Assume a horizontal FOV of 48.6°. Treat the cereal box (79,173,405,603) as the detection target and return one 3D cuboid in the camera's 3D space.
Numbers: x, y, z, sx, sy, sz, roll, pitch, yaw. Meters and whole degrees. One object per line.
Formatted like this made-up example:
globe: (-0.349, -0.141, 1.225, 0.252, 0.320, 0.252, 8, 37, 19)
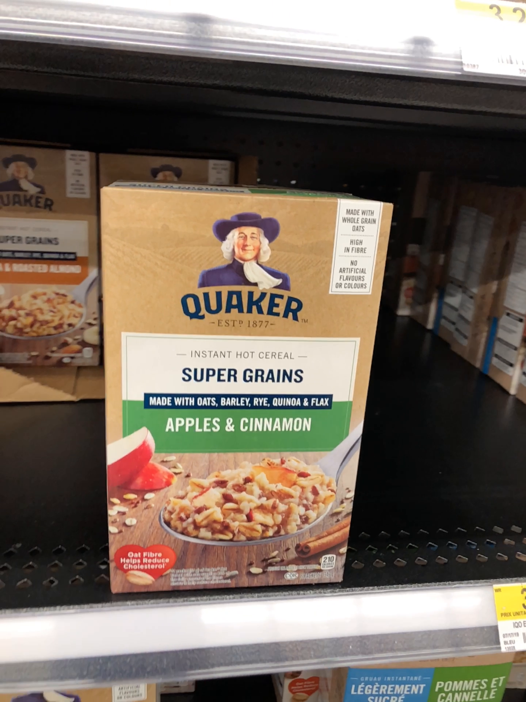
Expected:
cereal box: (-0.017, 0.021, 0.293, 0.130, 0.199, 0.060, 1, 20, -9)
